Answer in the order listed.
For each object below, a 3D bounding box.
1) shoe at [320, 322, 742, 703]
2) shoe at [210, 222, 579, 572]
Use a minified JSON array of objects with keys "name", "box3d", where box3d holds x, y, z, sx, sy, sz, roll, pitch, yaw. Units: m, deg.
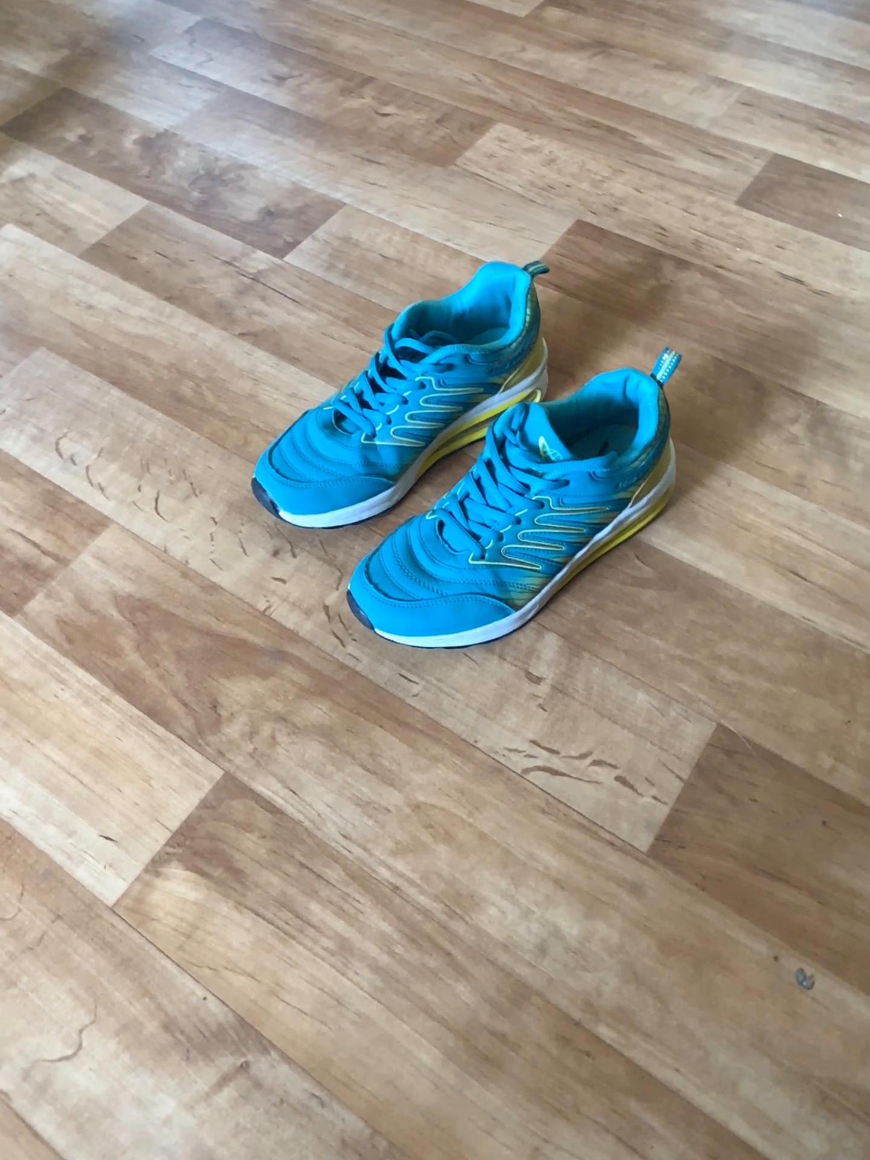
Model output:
[{"name":"shoe","box3d":[0.061,-0.045,0.582,0.240,0.120,0.100,-31,63,-16]},{"name":"shoe","box3d":[-0.024,-0.132,0.636,0.230,0.120,0.100,-36,67,-19]}]
